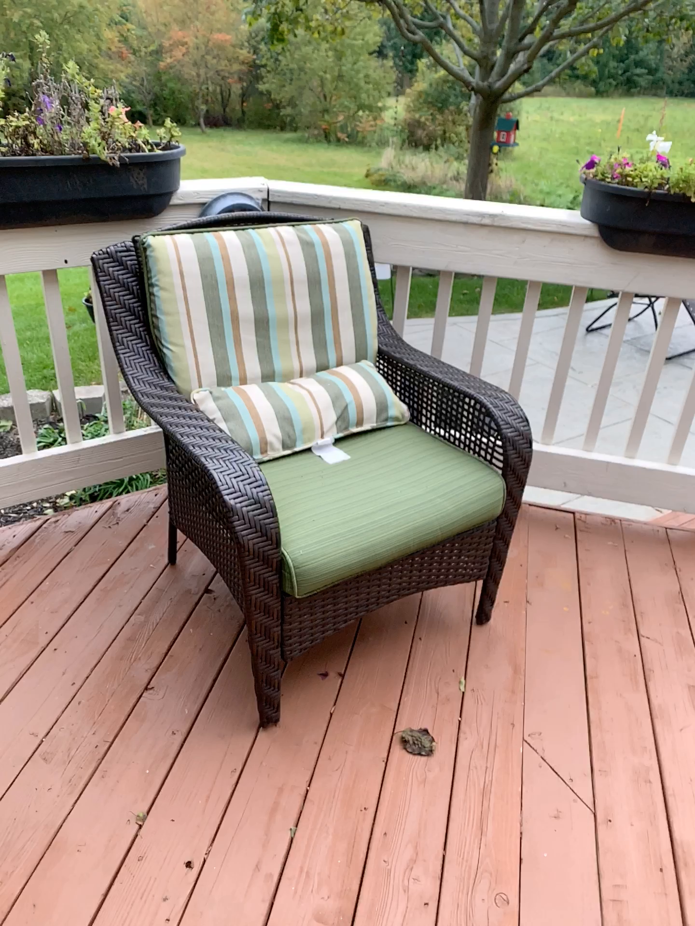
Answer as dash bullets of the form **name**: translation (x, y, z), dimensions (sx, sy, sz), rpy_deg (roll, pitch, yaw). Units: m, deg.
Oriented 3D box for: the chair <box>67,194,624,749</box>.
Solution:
- **chair**: translation (-0.061, -0.101, 1.669), dimensions (0.813, 0.824, 0.862), rpy_deg (-16, 34, -30)
